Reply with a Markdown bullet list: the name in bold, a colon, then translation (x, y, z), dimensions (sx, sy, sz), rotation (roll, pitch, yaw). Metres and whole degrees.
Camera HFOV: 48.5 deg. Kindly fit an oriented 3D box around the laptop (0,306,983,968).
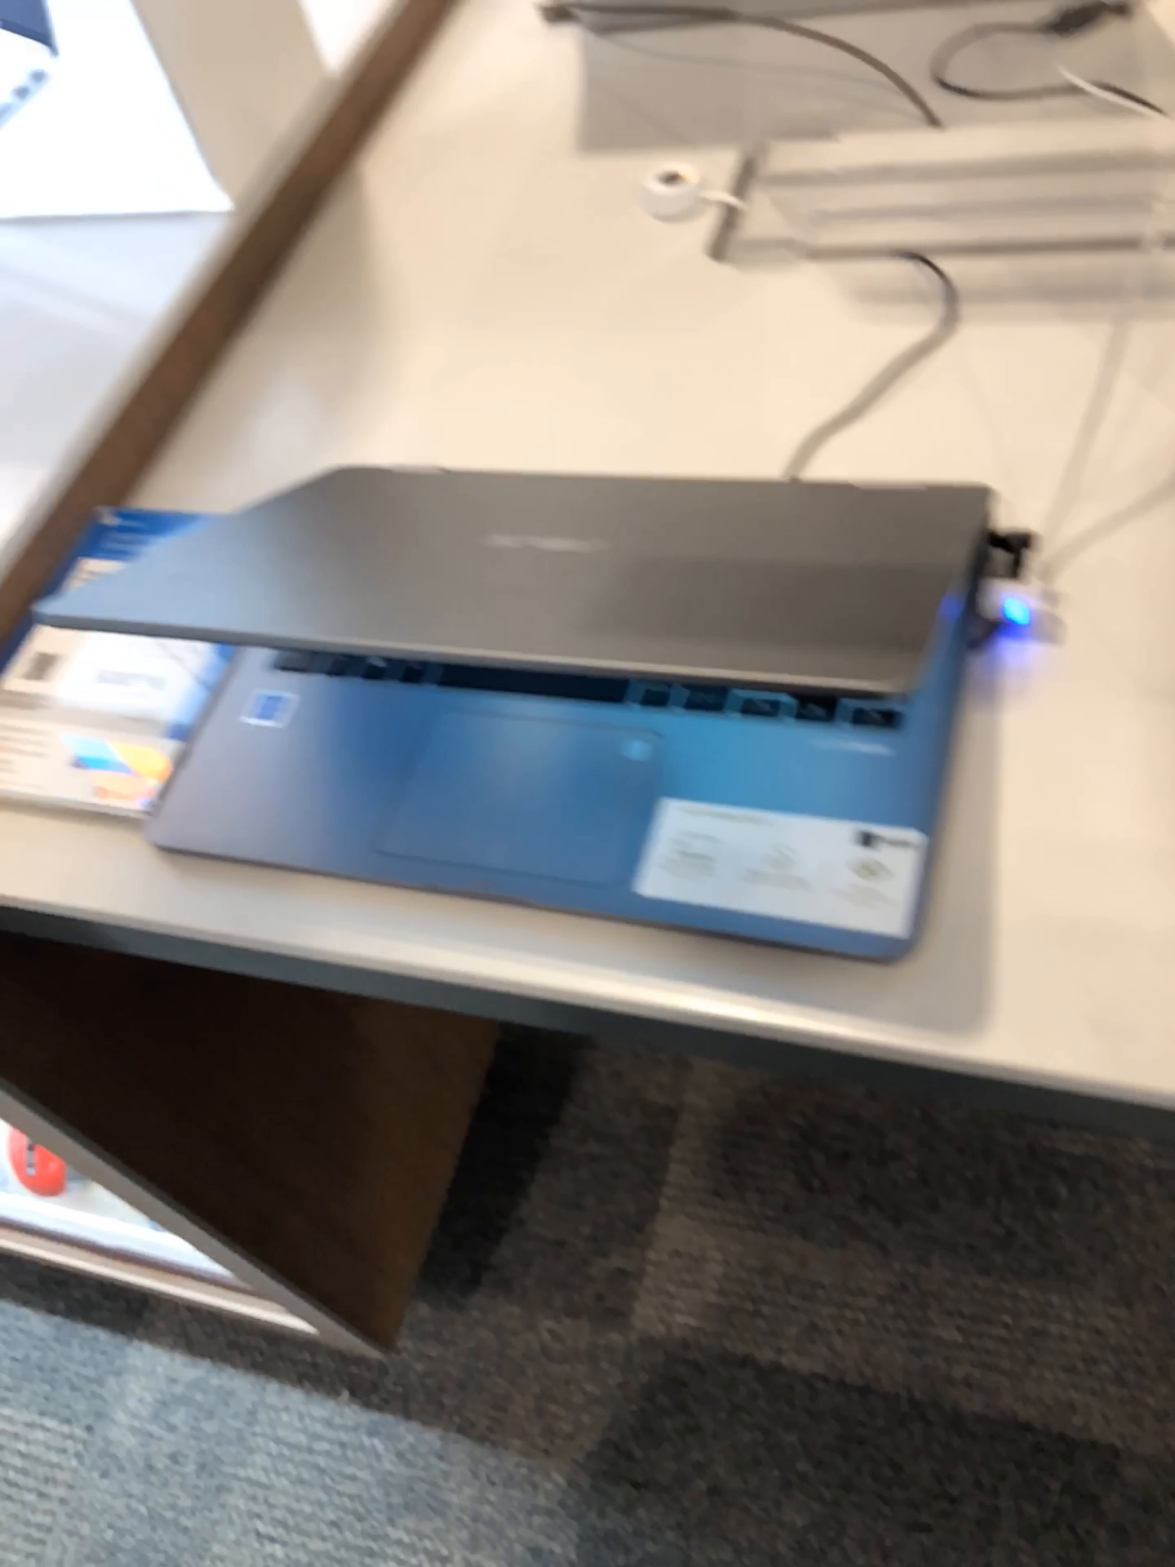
- **laptop**: translation (-0.027, -0.073, 0.513), dimensions (0.322, 0.105, 0.215), rotation (7, 57, 21)
